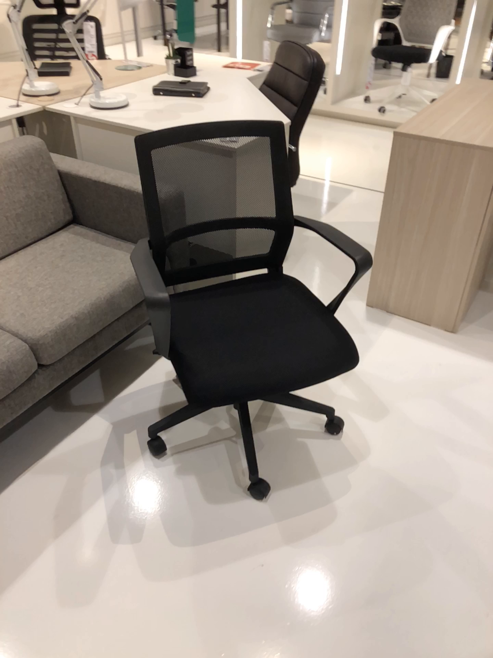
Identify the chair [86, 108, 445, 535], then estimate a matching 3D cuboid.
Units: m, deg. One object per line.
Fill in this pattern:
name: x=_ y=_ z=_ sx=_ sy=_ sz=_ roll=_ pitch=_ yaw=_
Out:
chair: x=-0.003 y=-0.048 z=1.579 sx=0.681 sy=0.933 sz=0.634 roll=-12 pitch=38 yaw=-17
